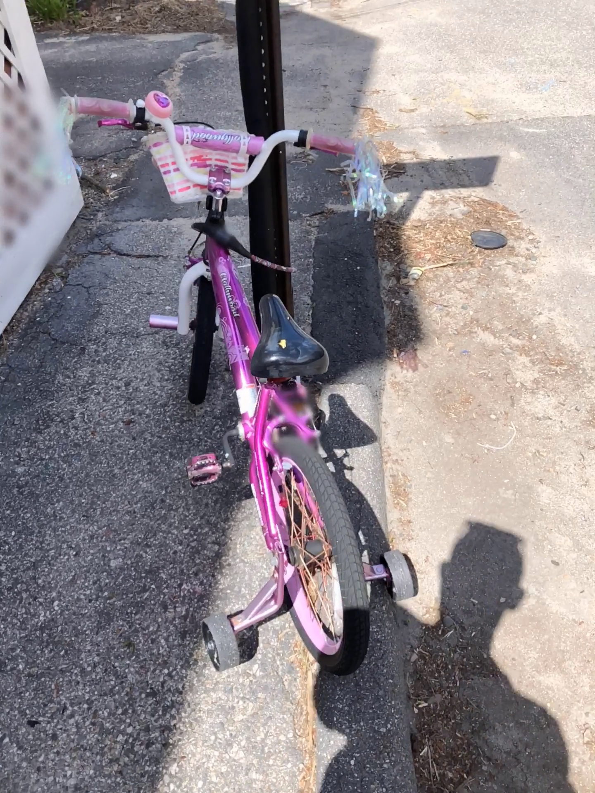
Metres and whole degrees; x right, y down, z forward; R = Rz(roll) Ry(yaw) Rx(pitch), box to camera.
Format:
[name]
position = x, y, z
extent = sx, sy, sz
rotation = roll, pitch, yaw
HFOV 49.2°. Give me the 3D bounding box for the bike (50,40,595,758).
[bike]
position = -0.079, -0.131, 1.398
extent = 0.614, 0.869, 1.232
rotation = -13, 41, -12
